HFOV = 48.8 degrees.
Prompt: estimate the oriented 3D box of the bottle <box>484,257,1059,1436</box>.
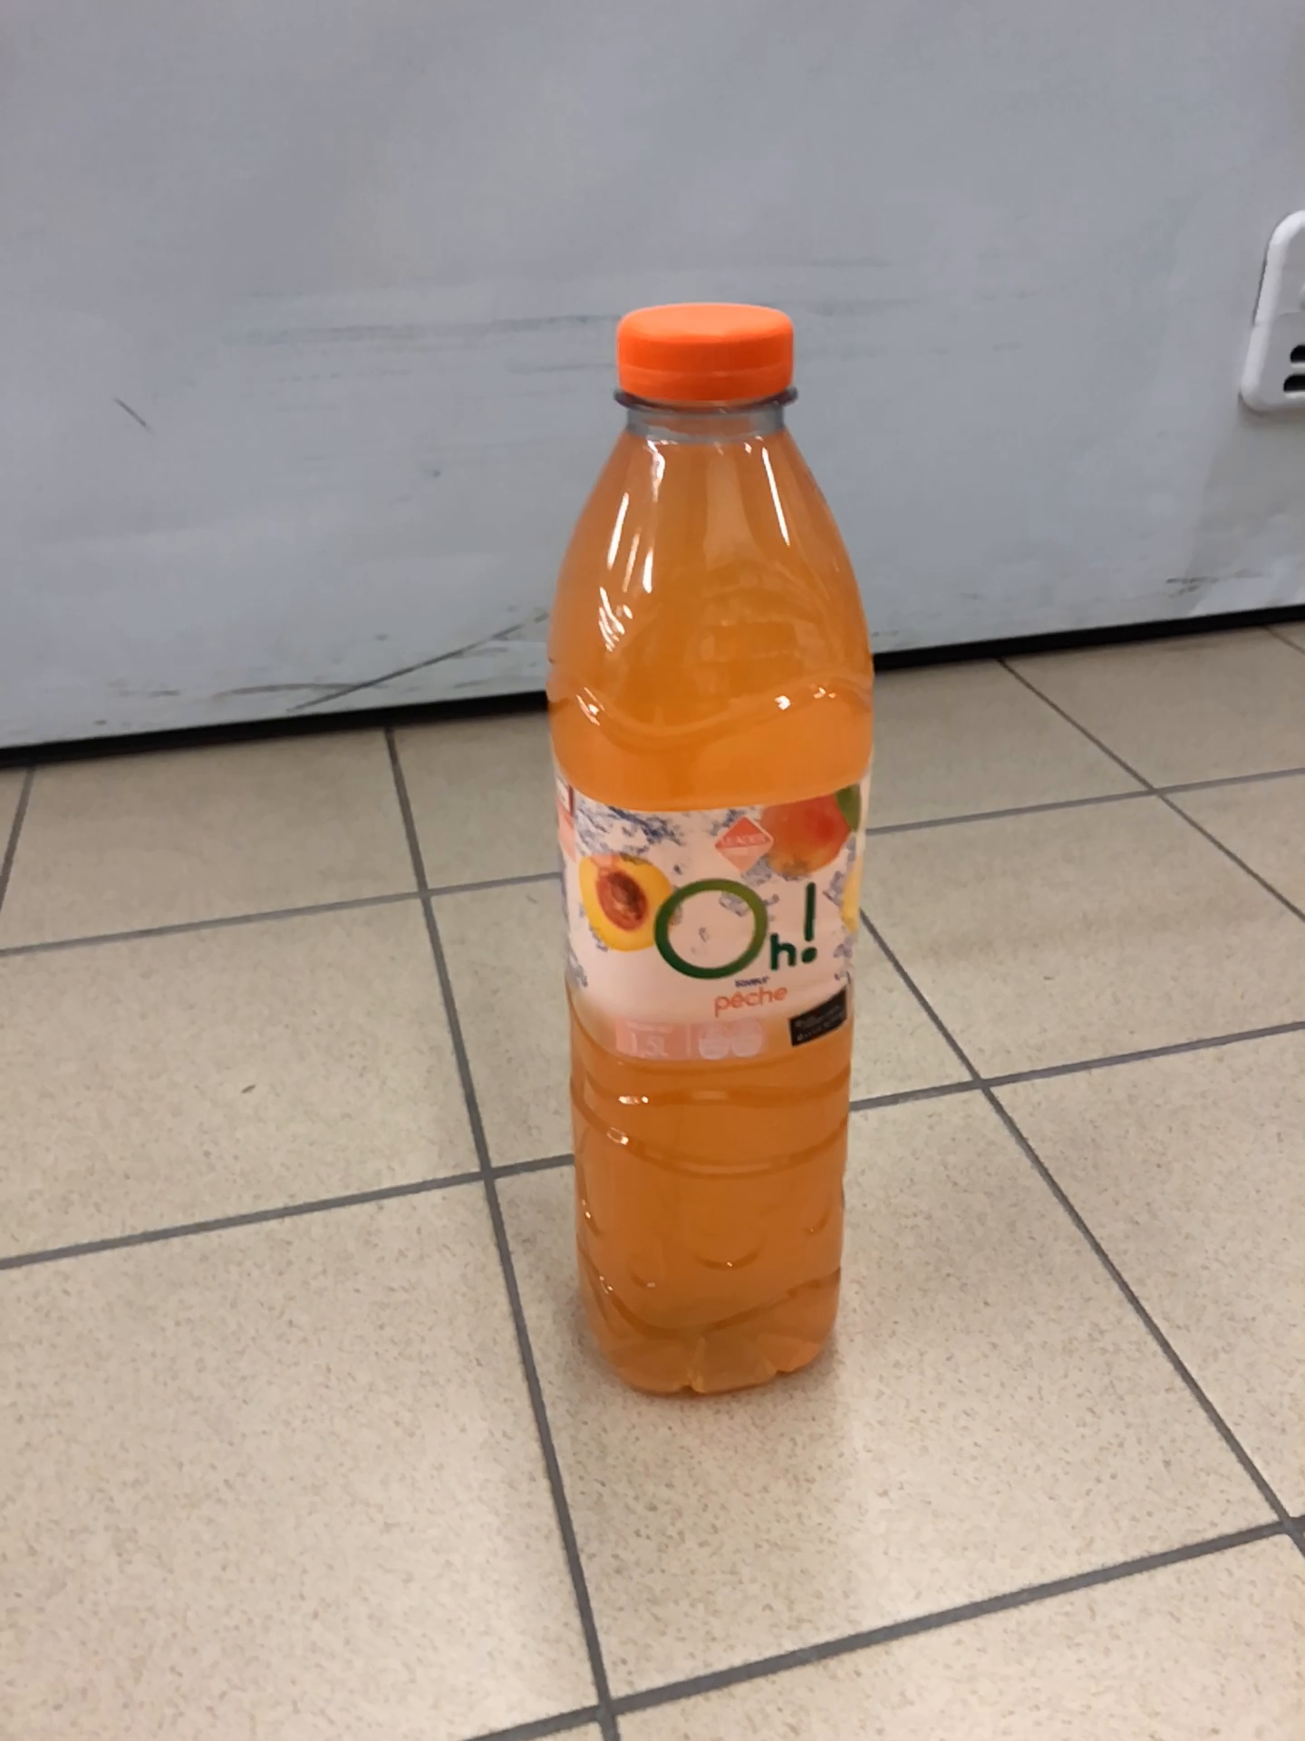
[{"bbox_3d":[0.020,0.002,0.392,0.100,0.298,0.100,0,30,0],"label":"bottle"}]
